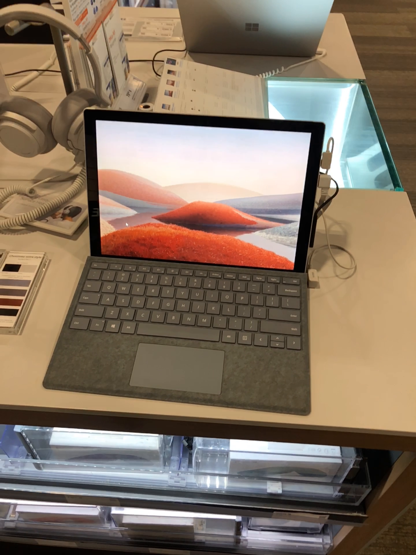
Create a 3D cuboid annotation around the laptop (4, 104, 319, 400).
[{"bbox_3d":[-0.025,-0.040,0.513,0.261,0.143,0.285,4,53,8],"label":"laptop"}]
